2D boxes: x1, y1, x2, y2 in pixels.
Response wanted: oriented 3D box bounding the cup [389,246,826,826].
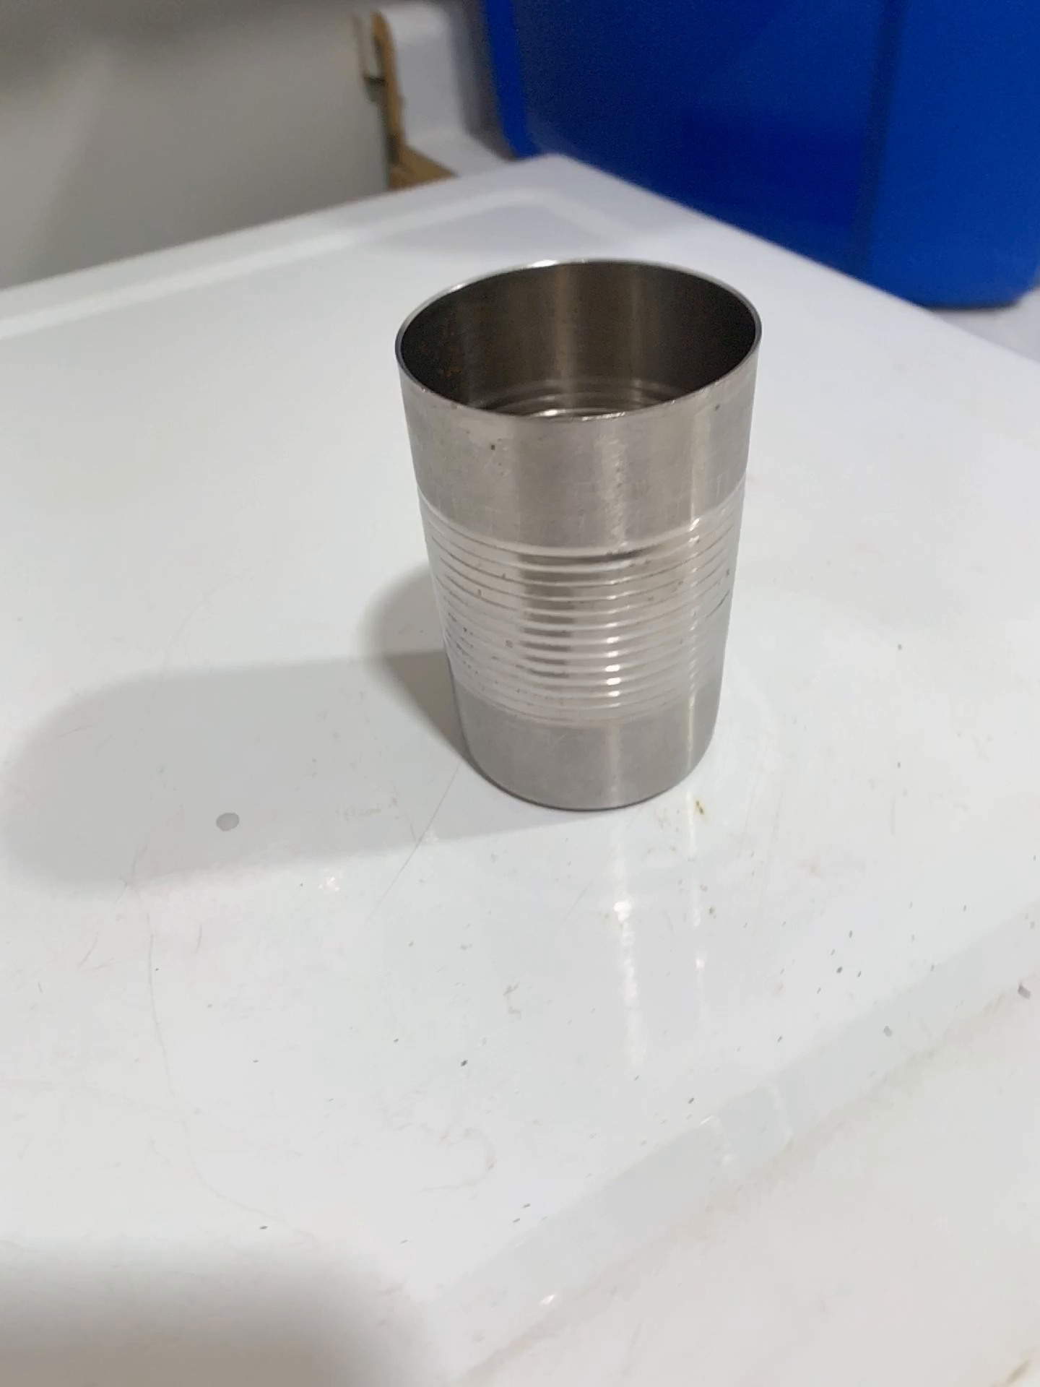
[{"bbox_3d":[0.015,-0.032,0.232,0.070,0.095,0.071,-2,42,2],"label":"cup"}]
